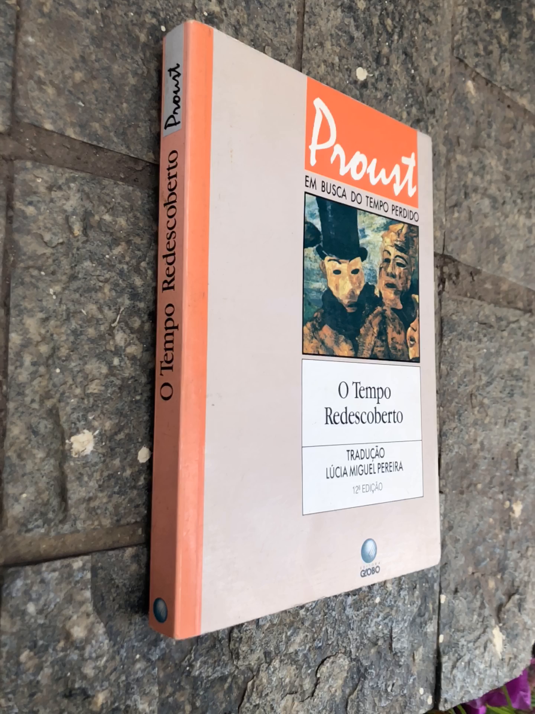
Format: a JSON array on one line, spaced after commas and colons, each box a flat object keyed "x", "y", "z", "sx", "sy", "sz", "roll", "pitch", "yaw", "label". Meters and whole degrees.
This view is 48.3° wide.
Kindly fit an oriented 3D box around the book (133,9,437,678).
[{"x": 0.016, "y": -0.004, "z": 0.230, "sx": 0.134, "sy": 0.023, "sz": 0.199, "roll": 4, "pitch": 85, "yaw": -41, "label": "book"}]
